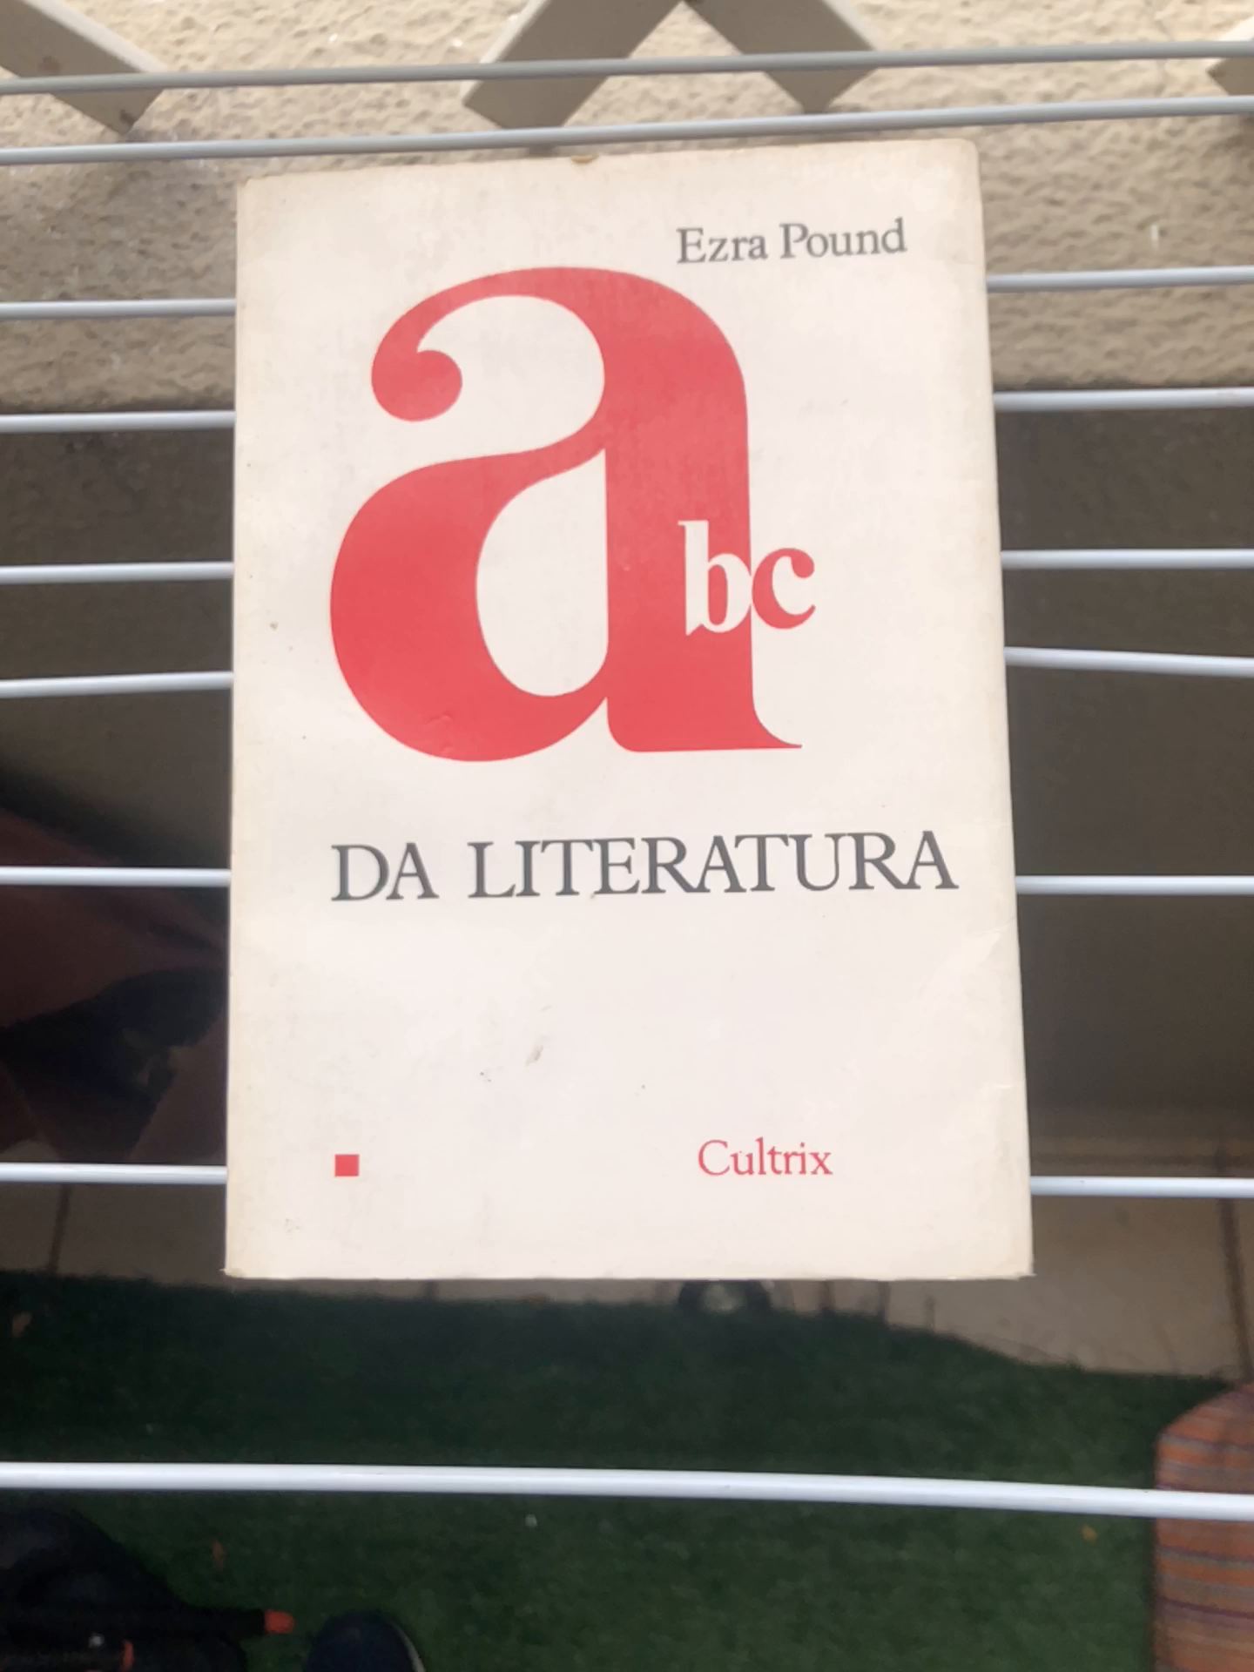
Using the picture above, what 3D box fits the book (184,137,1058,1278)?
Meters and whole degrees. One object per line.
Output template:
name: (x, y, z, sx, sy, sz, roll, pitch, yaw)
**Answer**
book: (-0.004, -0.022, 0.241, 0.140, 0.017, 0.187, -1, 85, 4)
